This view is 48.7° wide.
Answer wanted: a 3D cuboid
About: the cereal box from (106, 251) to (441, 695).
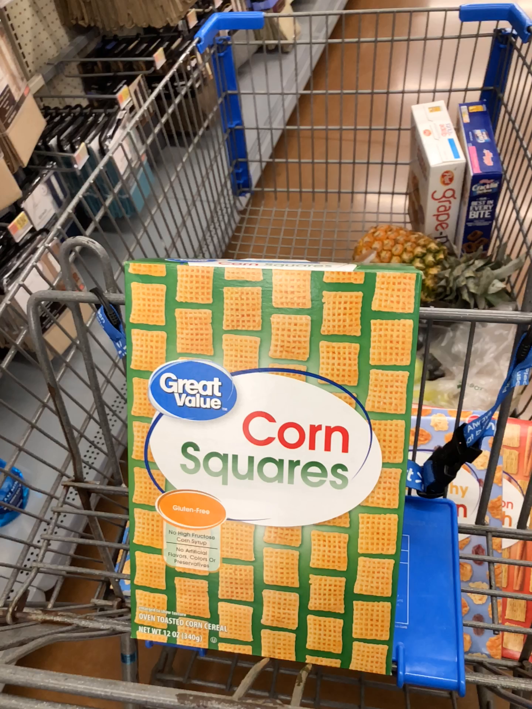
[{"bbox_3d":[0.003,0.073,0.406,0.200,0.280,0.070,3,11,10],"label":"cereal box"}]
